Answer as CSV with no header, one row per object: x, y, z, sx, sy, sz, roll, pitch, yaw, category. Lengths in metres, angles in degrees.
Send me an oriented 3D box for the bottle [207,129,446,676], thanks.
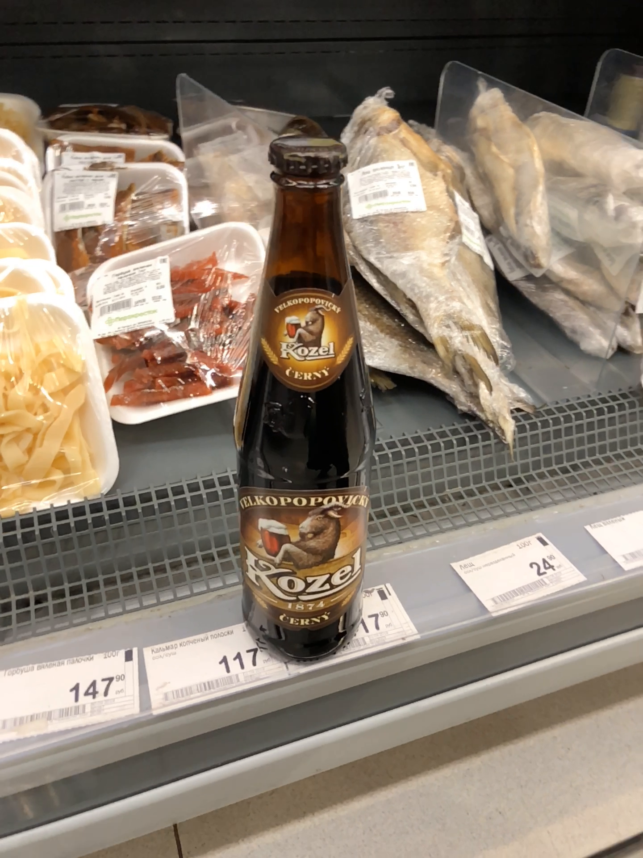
-0.006,0.004,0.303,0.070,0.231,0.070,2,36,-2,bottle
